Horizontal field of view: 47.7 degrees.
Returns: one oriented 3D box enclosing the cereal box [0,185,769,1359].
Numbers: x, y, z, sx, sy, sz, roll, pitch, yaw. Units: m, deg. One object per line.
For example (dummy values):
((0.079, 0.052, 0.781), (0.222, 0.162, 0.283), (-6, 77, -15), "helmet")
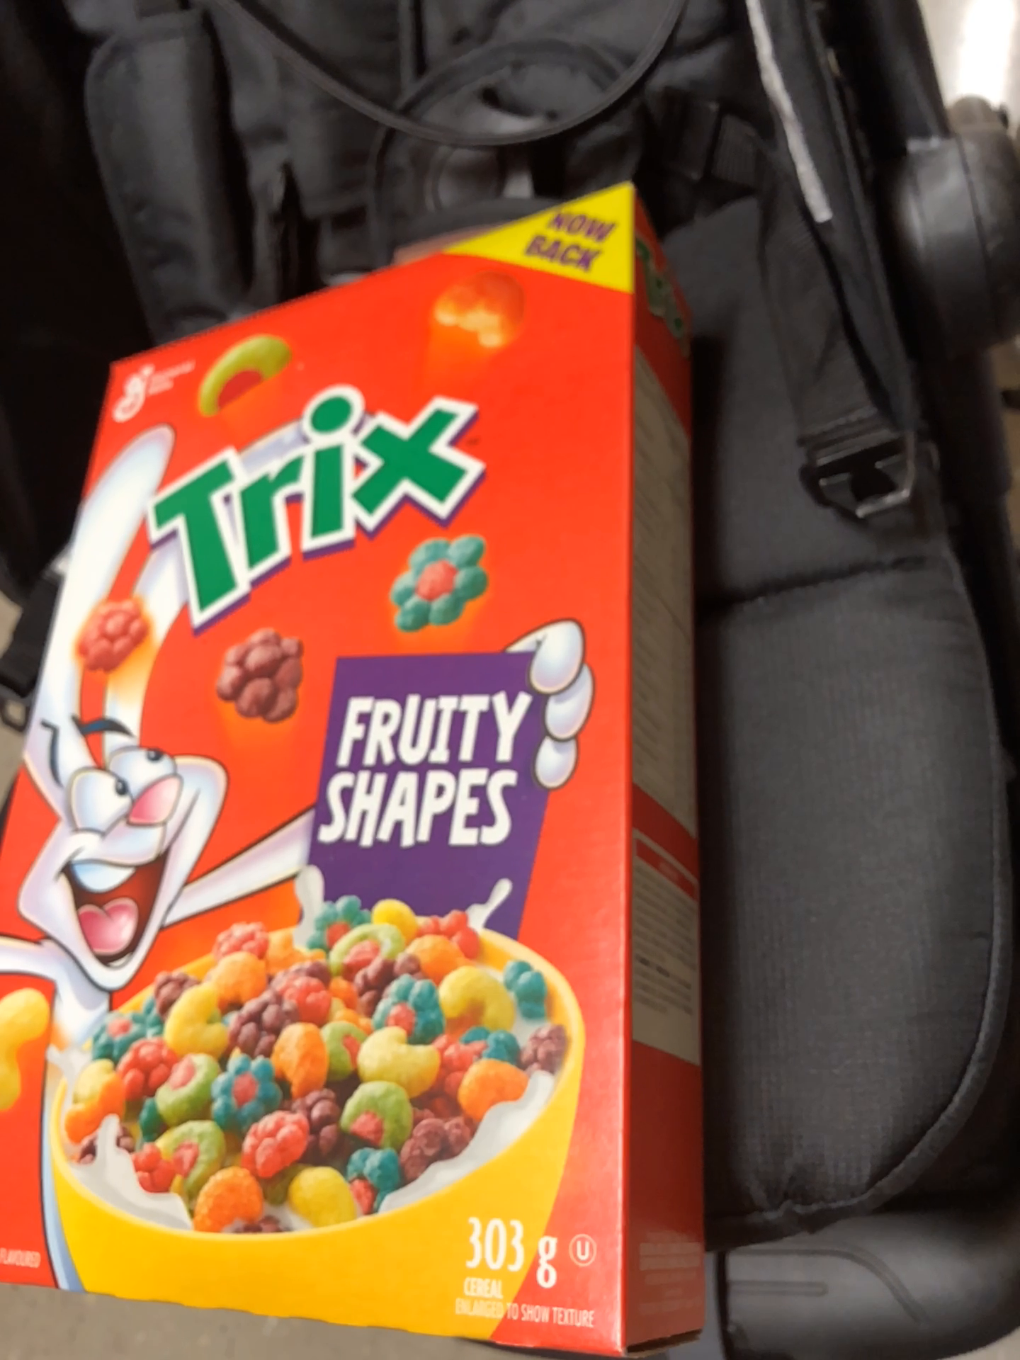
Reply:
((-0.043, 0.022, 0.319), (0.201, 0.060, 0.280), (-10, 64, 25), "cereal box")
